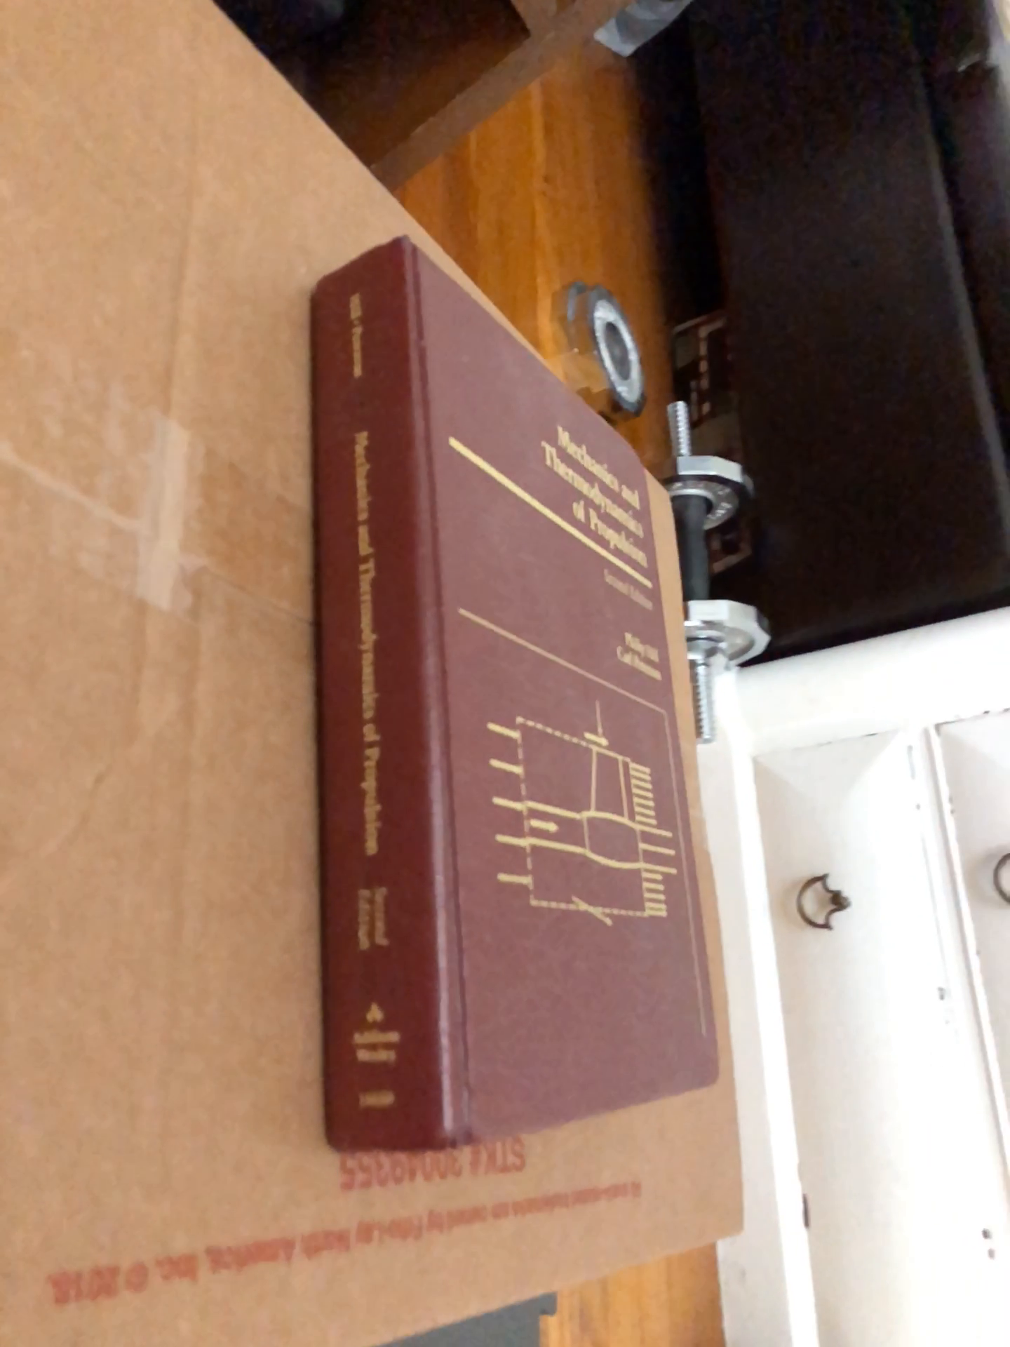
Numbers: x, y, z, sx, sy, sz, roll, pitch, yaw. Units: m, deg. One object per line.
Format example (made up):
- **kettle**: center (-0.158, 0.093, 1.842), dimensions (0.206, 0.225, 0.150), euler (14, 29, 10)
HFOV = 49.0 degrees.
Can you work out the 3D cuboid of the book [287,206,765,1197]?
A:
- **book**: center (0.013, 0.016, 0.343), dimensions (0.191, 0.040, 0.240), euler (25, 55, -55)
